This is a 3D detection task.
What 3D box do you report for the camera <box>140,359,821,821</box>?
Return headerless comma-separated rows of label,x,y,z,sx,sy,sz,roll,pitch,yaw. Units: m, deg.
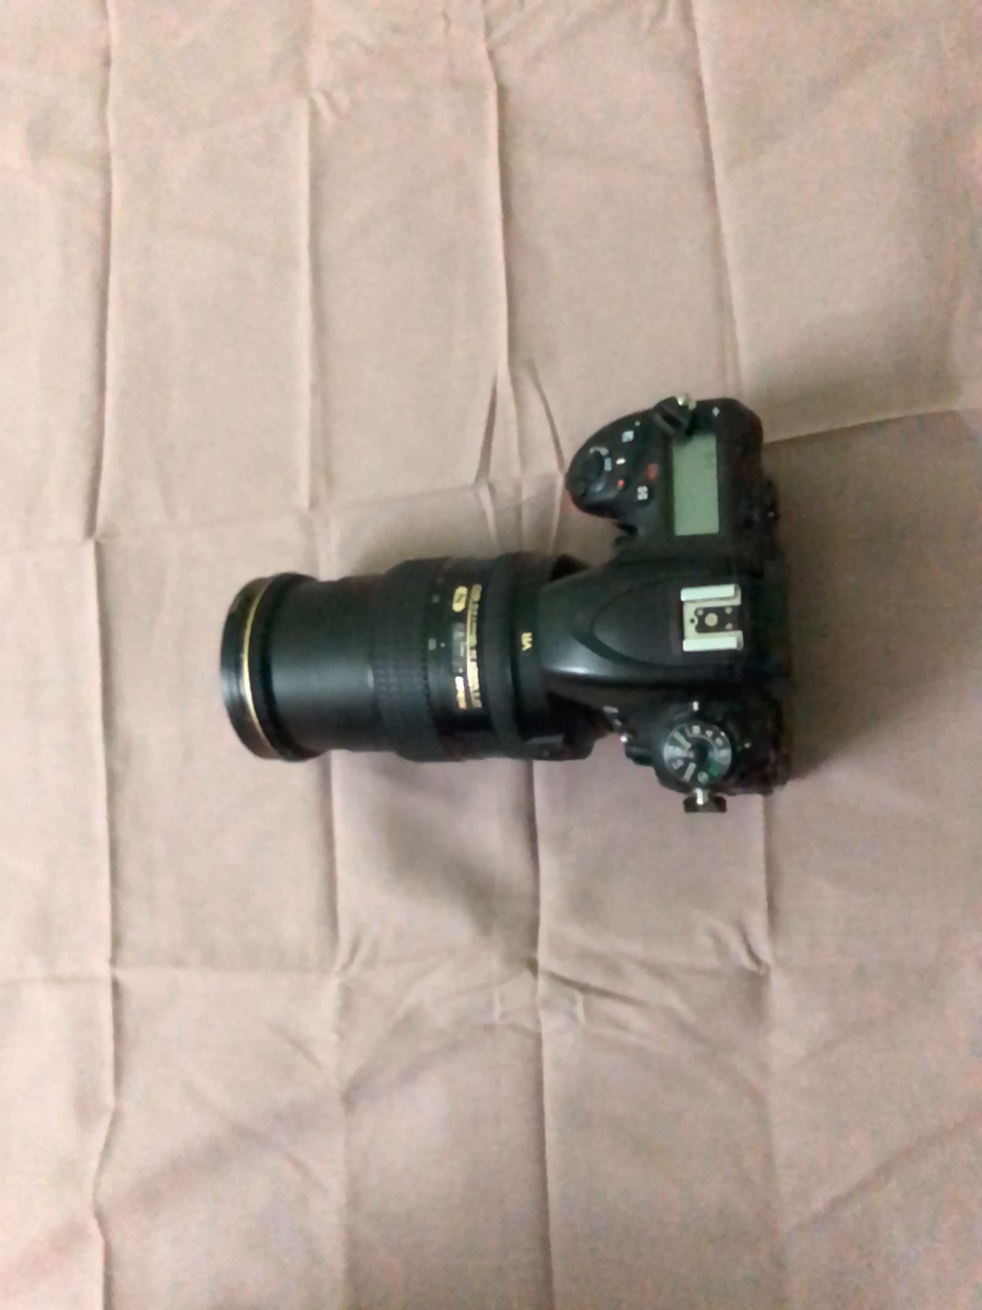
camera,0.000,-0.009,0.417,0.232,0.110,0.139,-4,81,18
